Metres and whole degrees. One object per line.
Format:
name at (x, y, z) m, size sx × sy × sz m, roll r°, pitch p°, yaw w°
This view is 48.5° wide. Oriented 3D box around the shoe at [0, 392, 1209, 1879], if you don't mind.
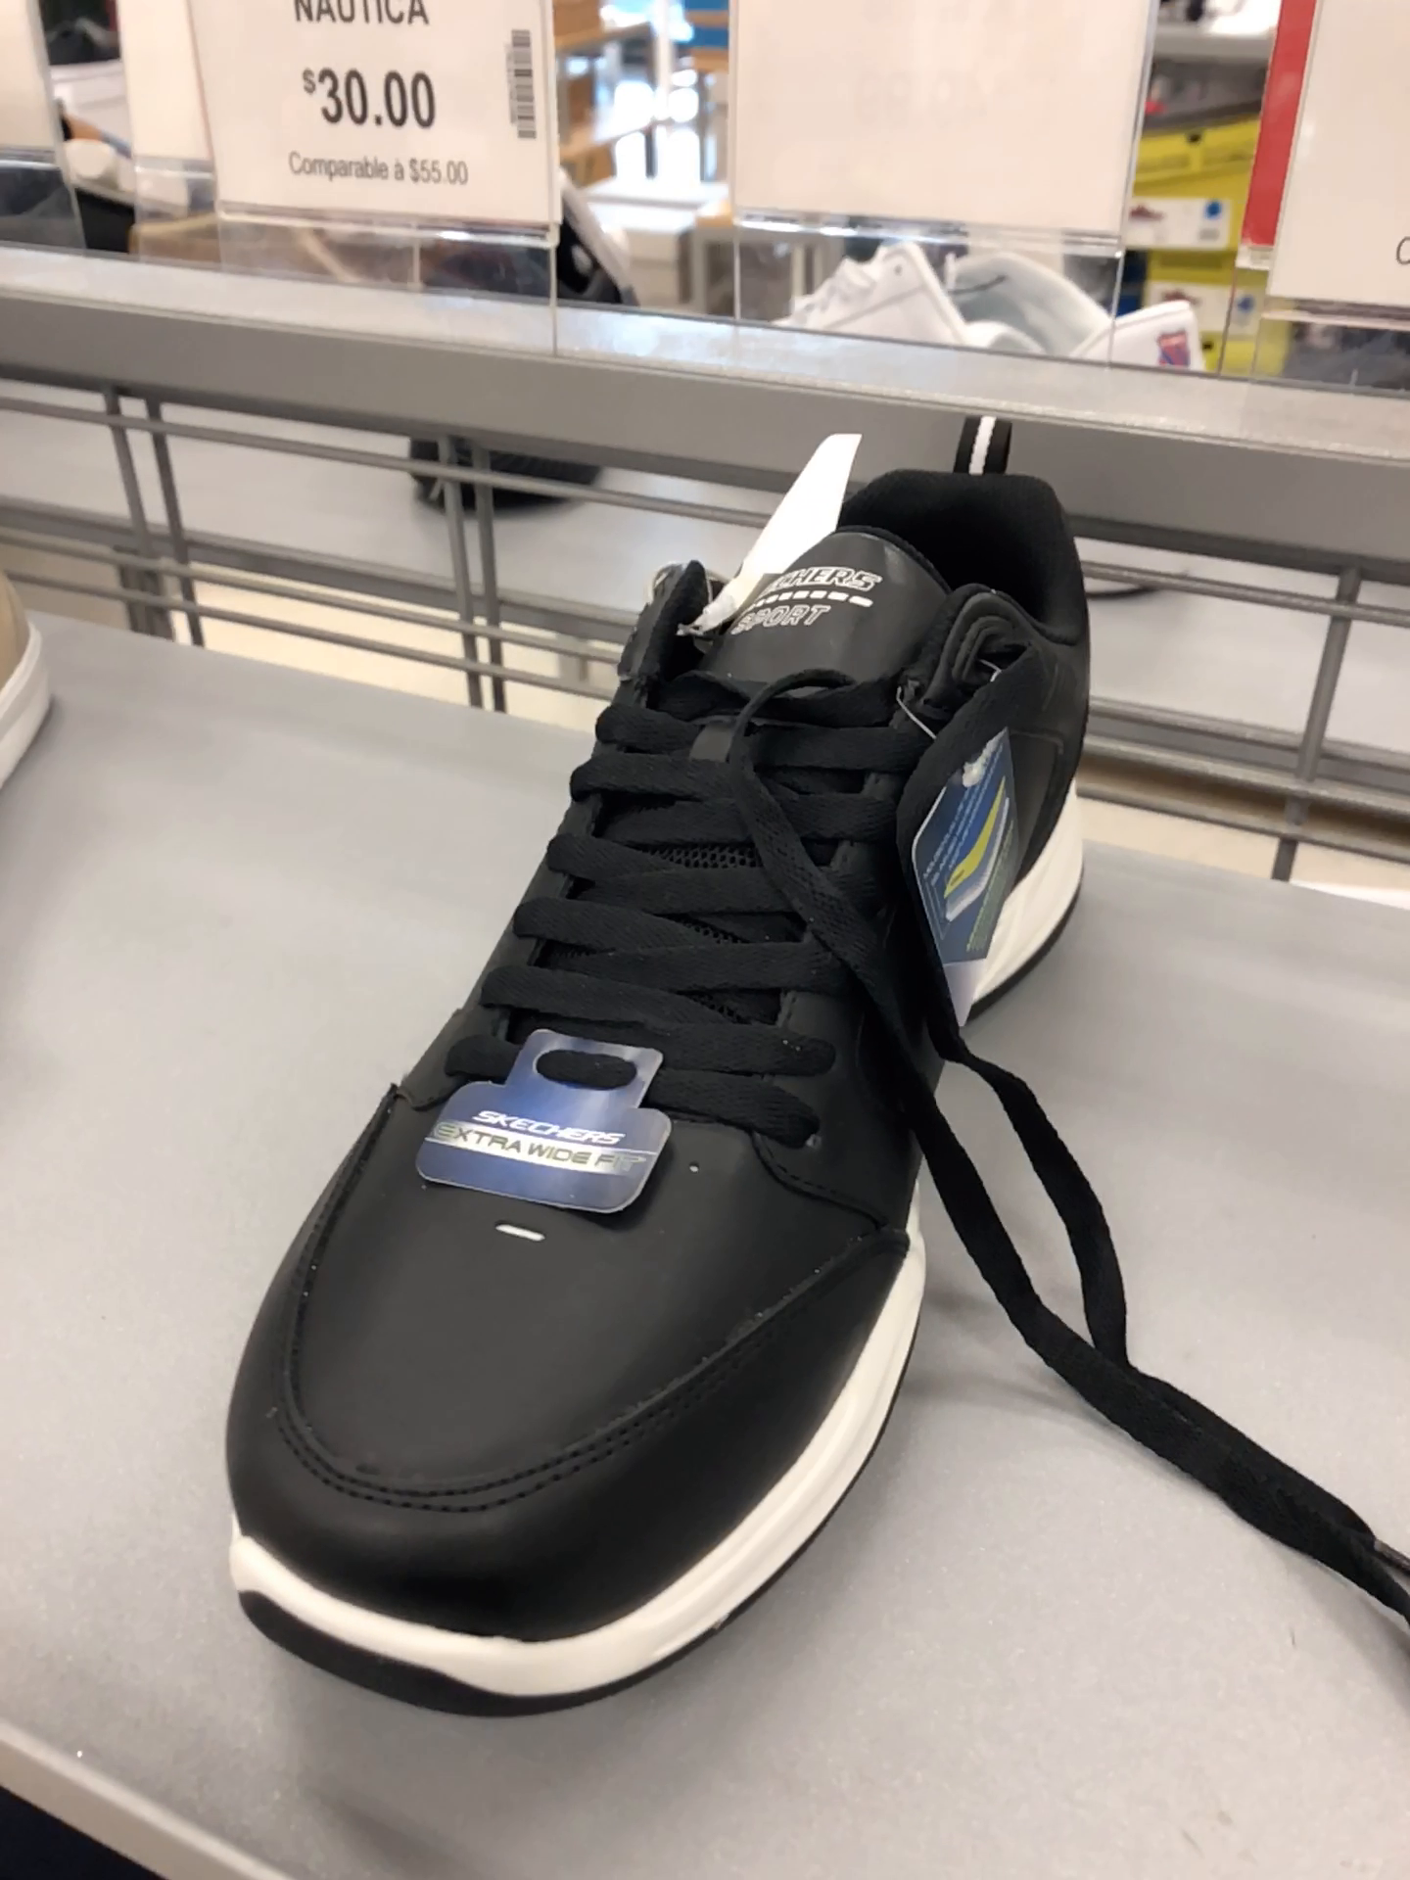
shoe at (0.006, -0.012, 0.350) m, size 0.130 × 0.109 × 0.352 m, roll 15°, pitch 38°, yaw 20°
